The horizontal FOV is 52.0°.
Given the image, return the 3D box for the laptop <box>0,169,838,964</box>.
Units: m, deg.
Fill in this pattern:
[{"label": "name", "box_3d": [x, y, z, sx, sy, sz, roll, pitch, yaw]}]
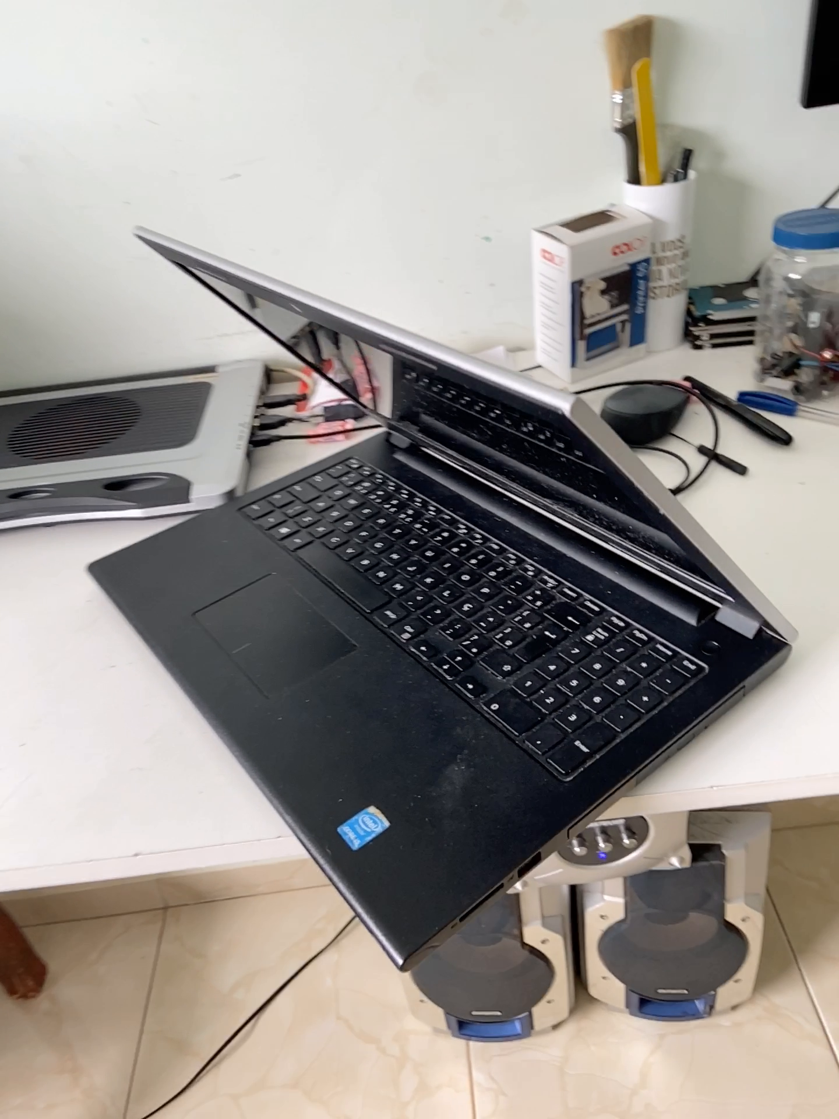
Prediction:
[{"label": "laptop", "box_3d": [-0.027, -0.052, 0.472, 0.257, 0.204, 0.375, -30, 41, -25]}]
